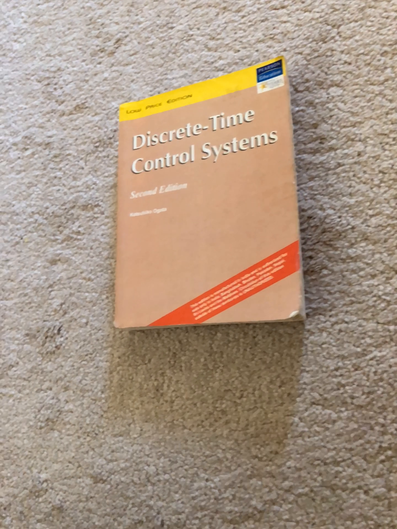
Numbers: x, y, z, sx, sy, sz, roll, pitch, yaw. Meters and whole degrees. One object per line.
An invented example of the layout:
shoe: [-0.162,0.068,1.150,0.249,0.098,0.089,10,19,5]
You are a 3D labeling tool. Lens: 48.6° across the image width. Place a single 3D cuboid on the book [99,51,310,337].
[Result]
book: [-0.003,-0.058,0.411,0.186,0.035,0.238,-7,76,23]
